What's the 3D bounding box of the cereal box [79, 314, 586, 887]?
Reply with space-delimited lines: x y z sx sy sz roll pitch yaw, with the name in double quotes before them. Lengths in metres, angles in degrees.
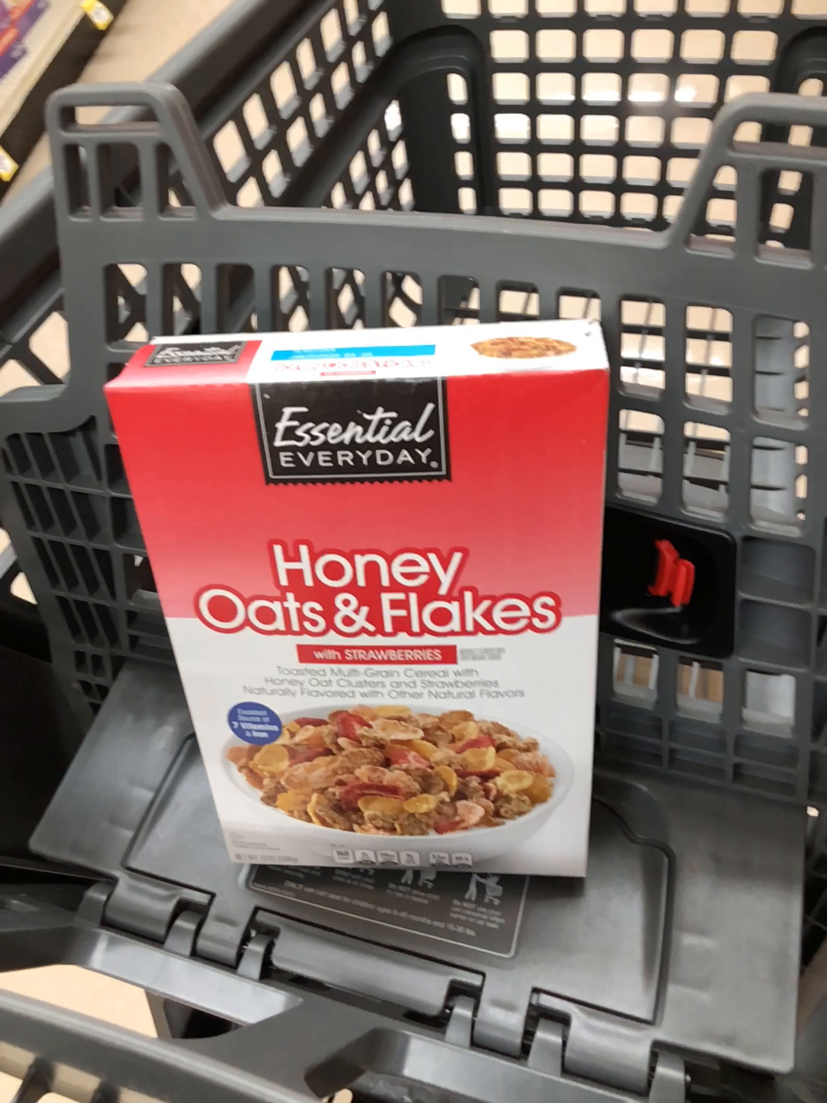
"cereal box" -0.018 0.036 0.409 0.180 0.260 0.060 -1 31 7
